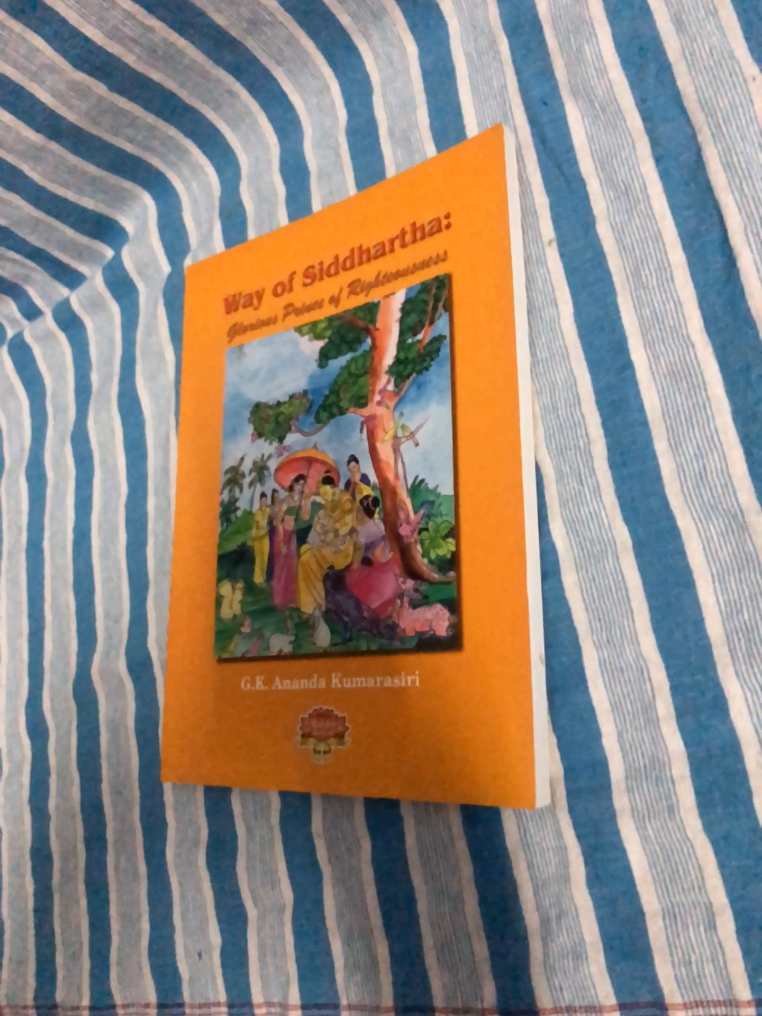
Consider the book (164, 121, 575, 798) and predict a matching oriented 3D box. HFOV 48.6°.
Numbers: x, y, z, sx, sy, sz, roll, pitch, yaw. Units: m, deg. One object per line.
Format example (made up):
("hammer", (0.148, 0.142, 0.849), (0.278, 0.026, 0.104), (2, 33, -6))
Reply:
("book", (-0.017, -0.013, 0.326), (0.170, 0.010, 0.230), (-10, 74, 33))
